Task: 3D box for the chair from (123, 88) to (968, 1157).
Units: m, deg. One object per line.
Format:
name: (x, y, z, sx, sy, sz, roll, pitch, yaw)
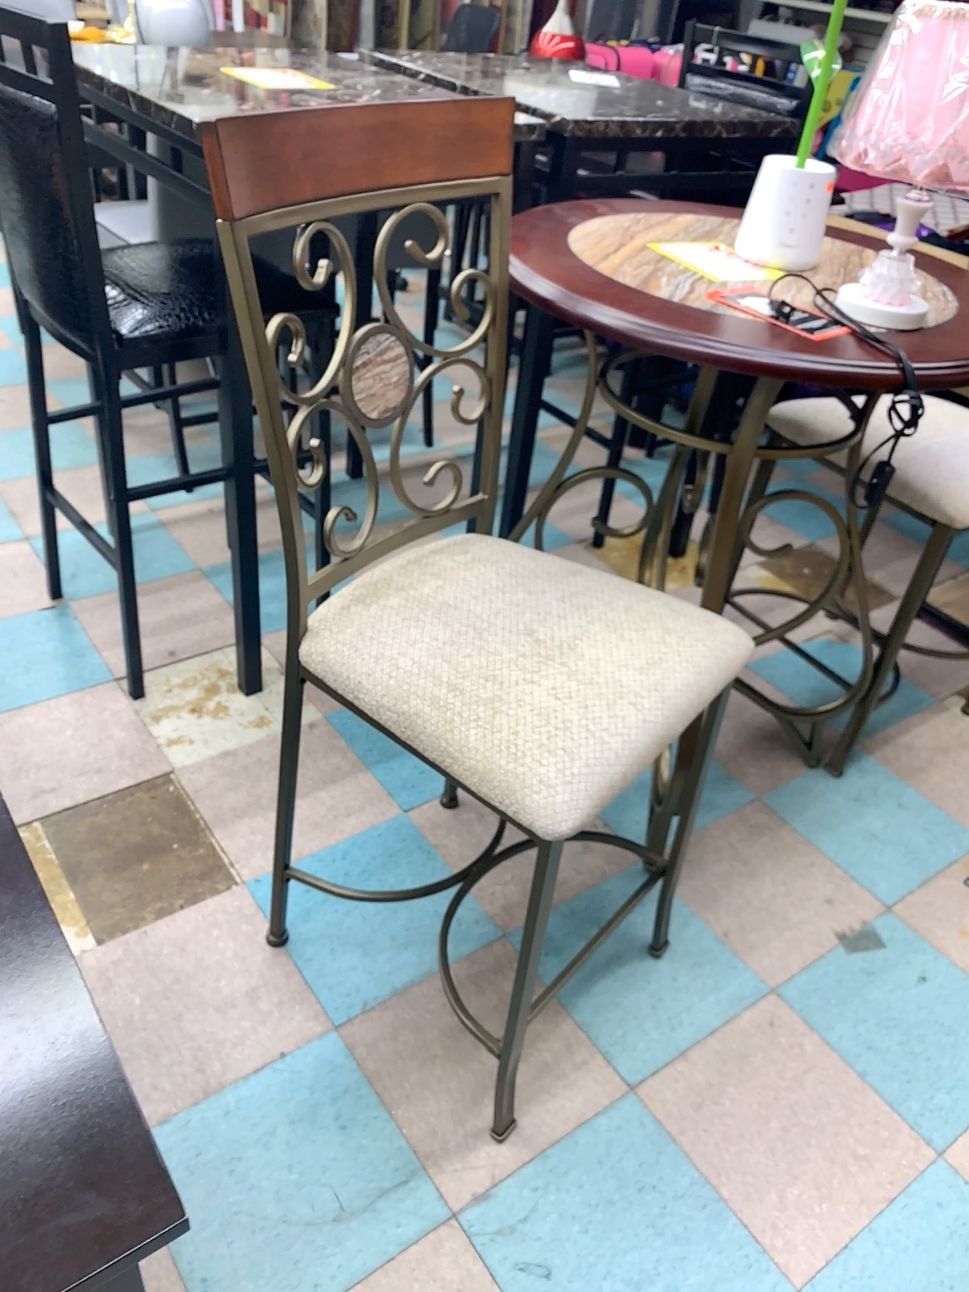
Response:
chair: (0.019, -0.028, 1.229, 0.609, 1.052, 0.512, 29, 42, 27)
